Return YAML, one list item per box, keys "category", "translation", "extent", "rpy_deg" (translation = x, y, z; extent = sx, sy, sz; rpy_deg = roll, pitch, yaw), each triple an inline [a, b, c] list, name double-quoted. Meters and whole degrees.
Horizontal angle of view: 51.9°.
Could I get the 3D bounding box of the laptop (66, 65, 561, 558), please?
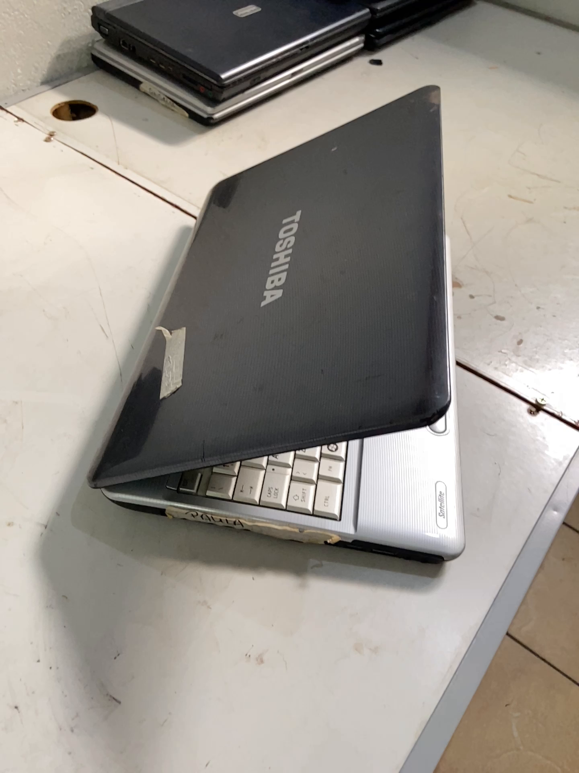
- category: "laptop"
  translation: [0.030, -0.090, 0.479]
  extent: [0.255, 0.143, 0.373]
  rpy_deg: [9, 49, 1]
